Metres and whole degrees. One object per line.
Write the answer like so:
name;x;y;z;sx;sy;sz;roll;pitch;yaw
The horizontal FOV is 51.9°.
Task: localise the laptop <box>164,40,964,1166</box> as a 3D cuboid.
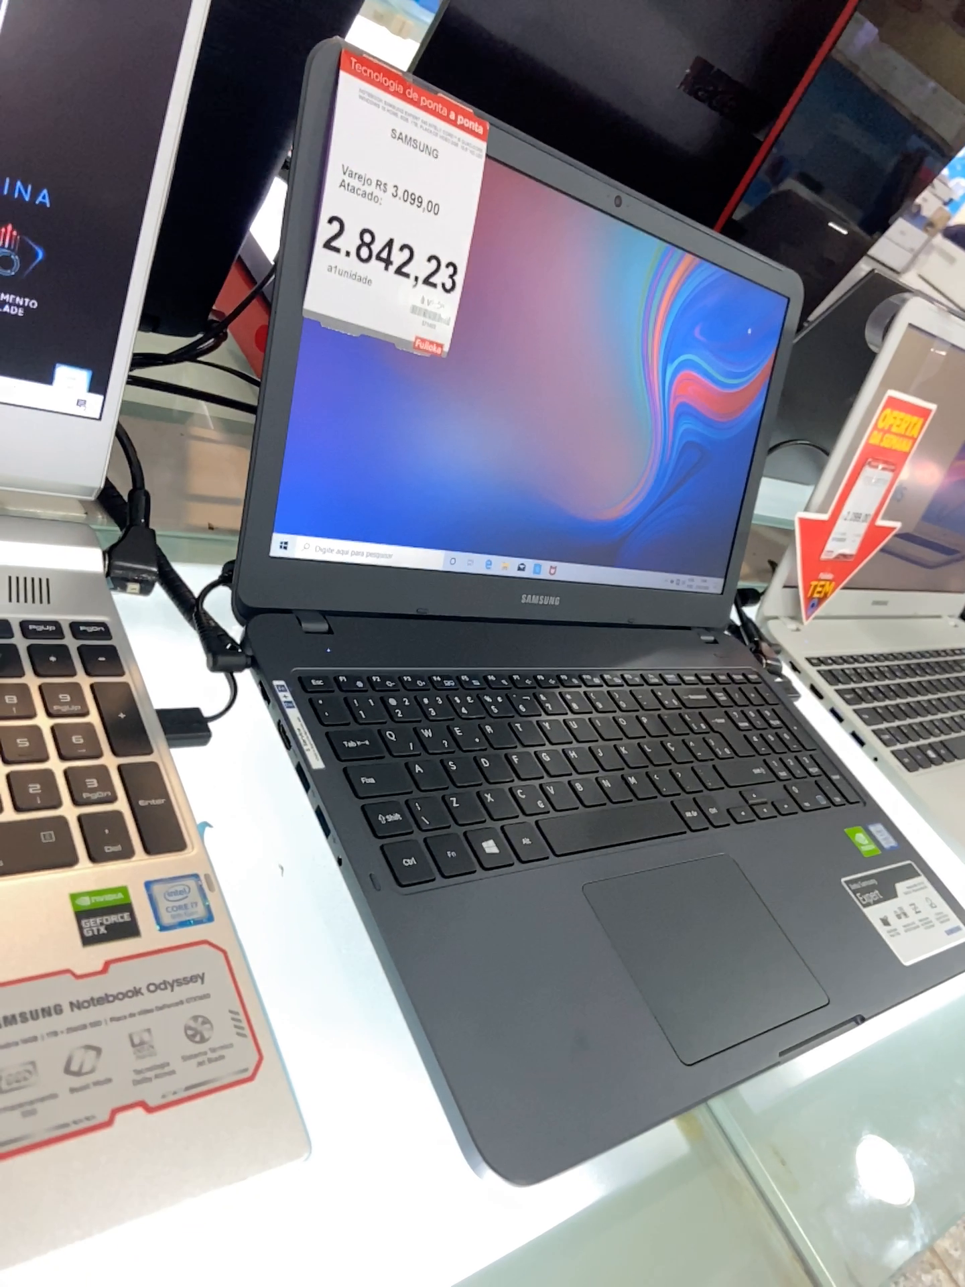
laptop;0.106;-0.037;0.473;0.368;0.193;0.370;2;44;-42
